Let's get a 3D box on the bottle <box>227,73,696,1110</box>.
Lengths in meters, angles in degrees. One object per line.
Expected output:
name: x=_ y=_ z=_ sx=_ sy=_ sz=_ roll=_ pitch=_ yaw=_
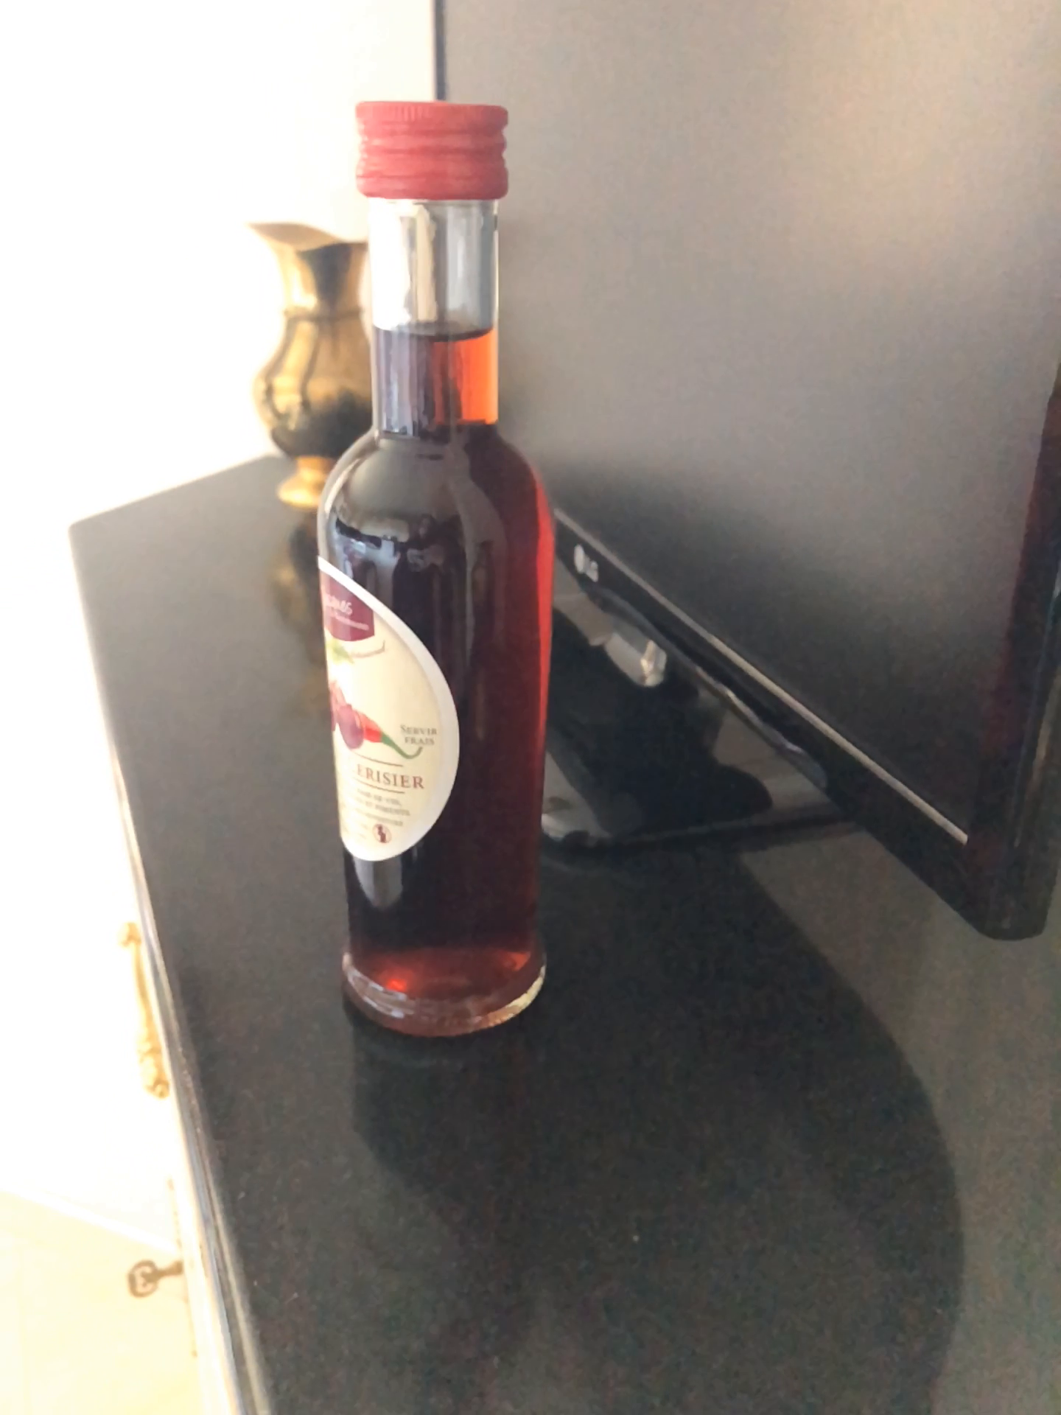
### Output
bottle: x=-0.017 y=-0.024 z=0.281 sx=0.070 sy=0.219 sz=0.070 roll=1 pitch=24 yaw=0
